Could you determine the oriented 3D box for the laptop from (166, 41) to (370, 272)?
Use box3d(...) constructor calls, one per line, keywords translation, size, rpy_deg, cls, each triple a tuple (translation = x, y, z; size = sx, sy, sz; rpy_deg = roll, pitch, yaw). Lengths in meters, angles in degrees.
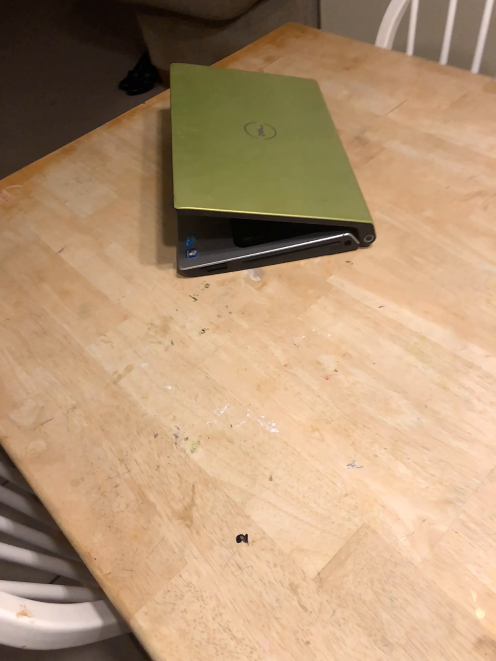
box3d(translation=(0.013, -0.254, 0.739), size=(0.227, 0.077, 0.360), rpy_deg=(-10, 49, 5), cls="laptop")
